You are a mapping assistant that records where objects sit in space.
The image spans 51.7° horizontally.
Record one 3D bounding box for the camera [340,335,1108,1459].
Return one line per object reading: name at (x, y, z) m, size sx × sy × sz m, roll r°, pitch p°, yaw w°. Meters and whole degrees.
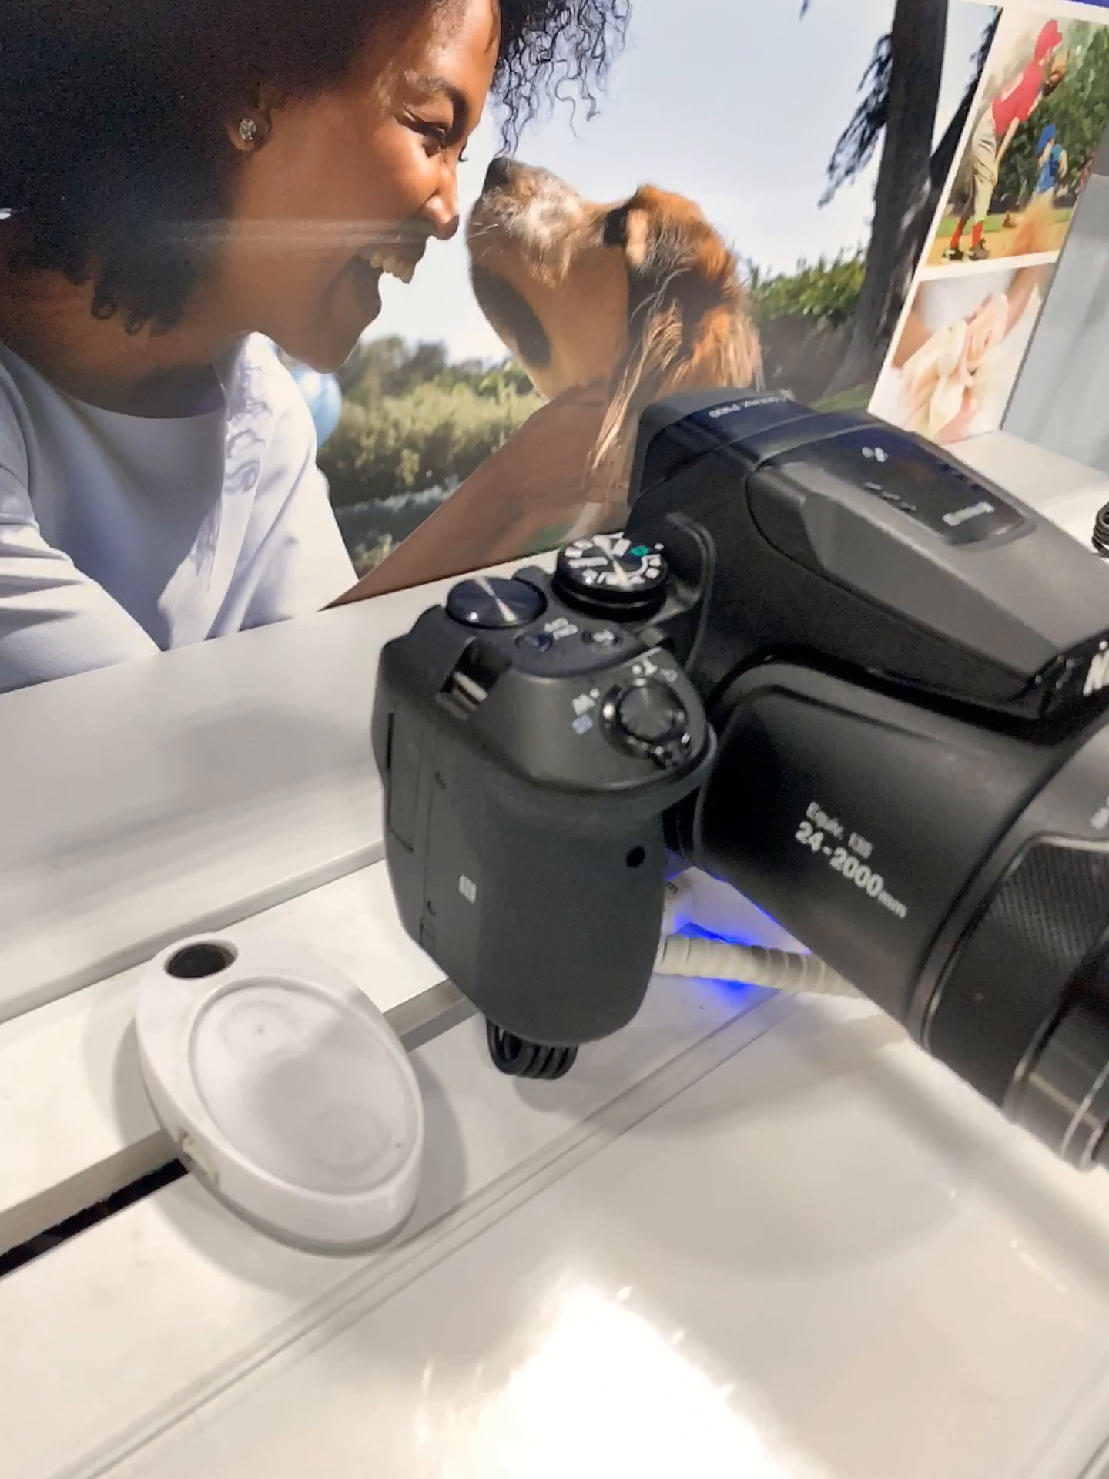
camera at (0.062, -0.001, 0.216) m, size 0.140 × 0.099 × 0.153 m, roll -20°, pitch 42°, yaw -37°
